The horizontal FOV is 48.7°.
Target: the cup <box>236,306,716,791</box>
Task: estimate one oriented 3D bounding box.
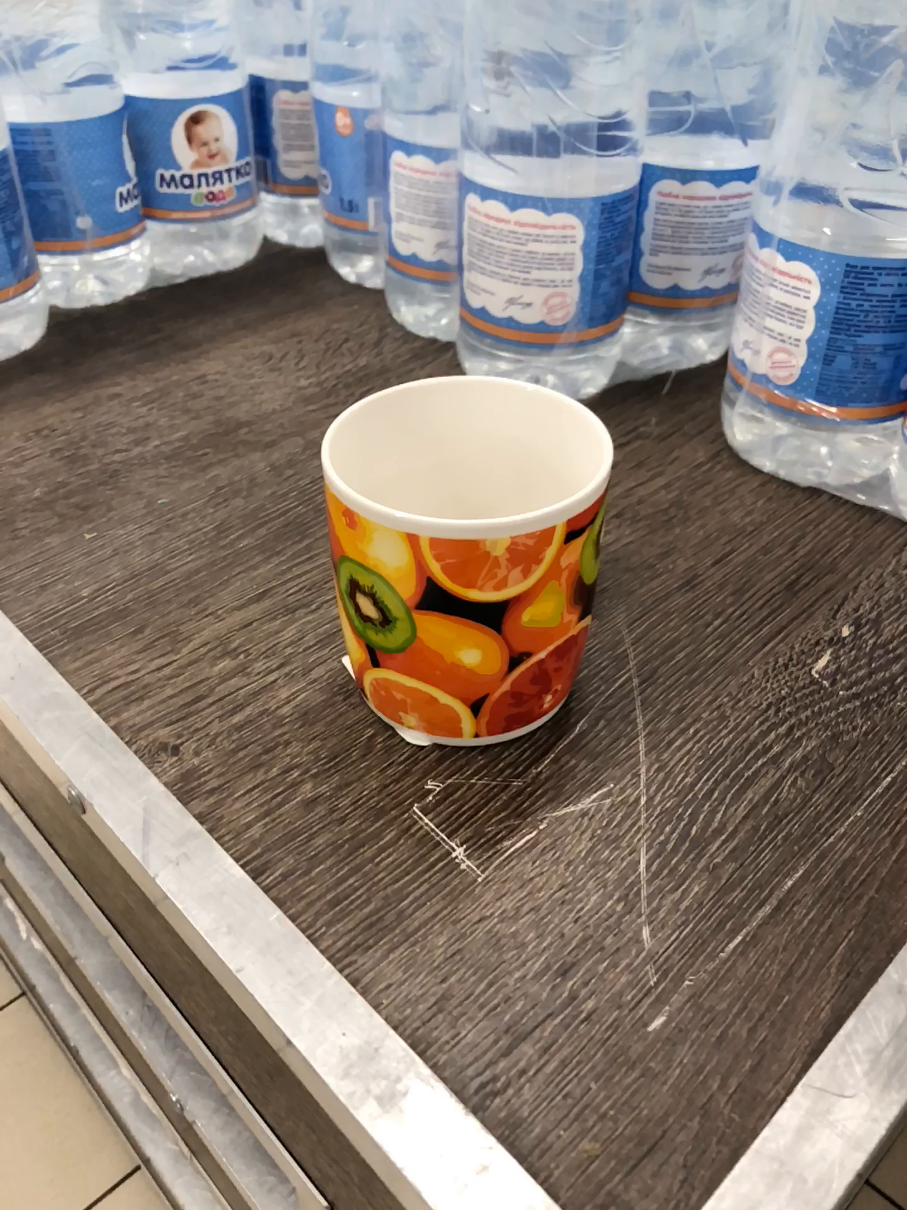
[{"bbox_3d":[0.011,-0.027,0.332,0.091,0.085,0.126,24,44,27],"label":"cup"}]
